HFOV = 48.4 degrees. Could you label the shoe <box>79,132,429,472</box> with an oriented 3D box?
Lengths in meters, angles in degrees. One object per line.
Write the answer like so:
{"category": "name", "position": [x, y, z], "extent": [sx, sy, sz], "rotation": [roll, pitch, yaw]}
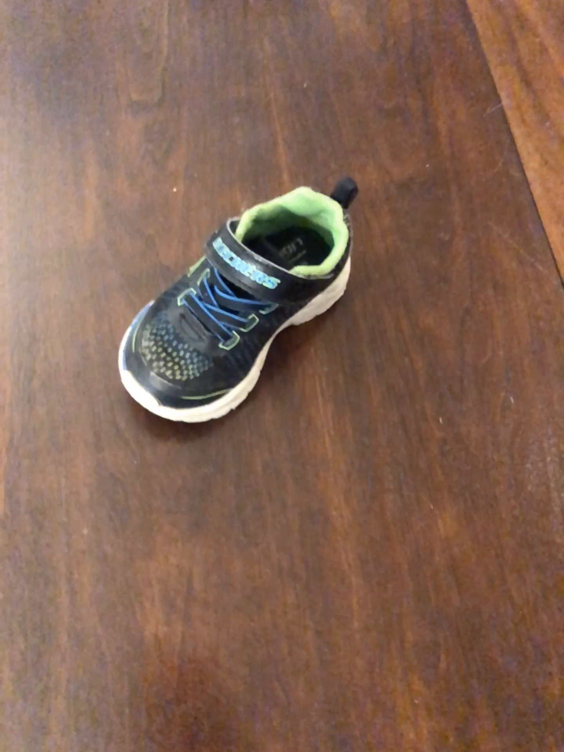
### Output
{"category": "shoe", "position": [-0.012, -0.043, 0.352], "extent": [0.080, 0.080, 0.170], "rotation": [43, 67, 12]}
